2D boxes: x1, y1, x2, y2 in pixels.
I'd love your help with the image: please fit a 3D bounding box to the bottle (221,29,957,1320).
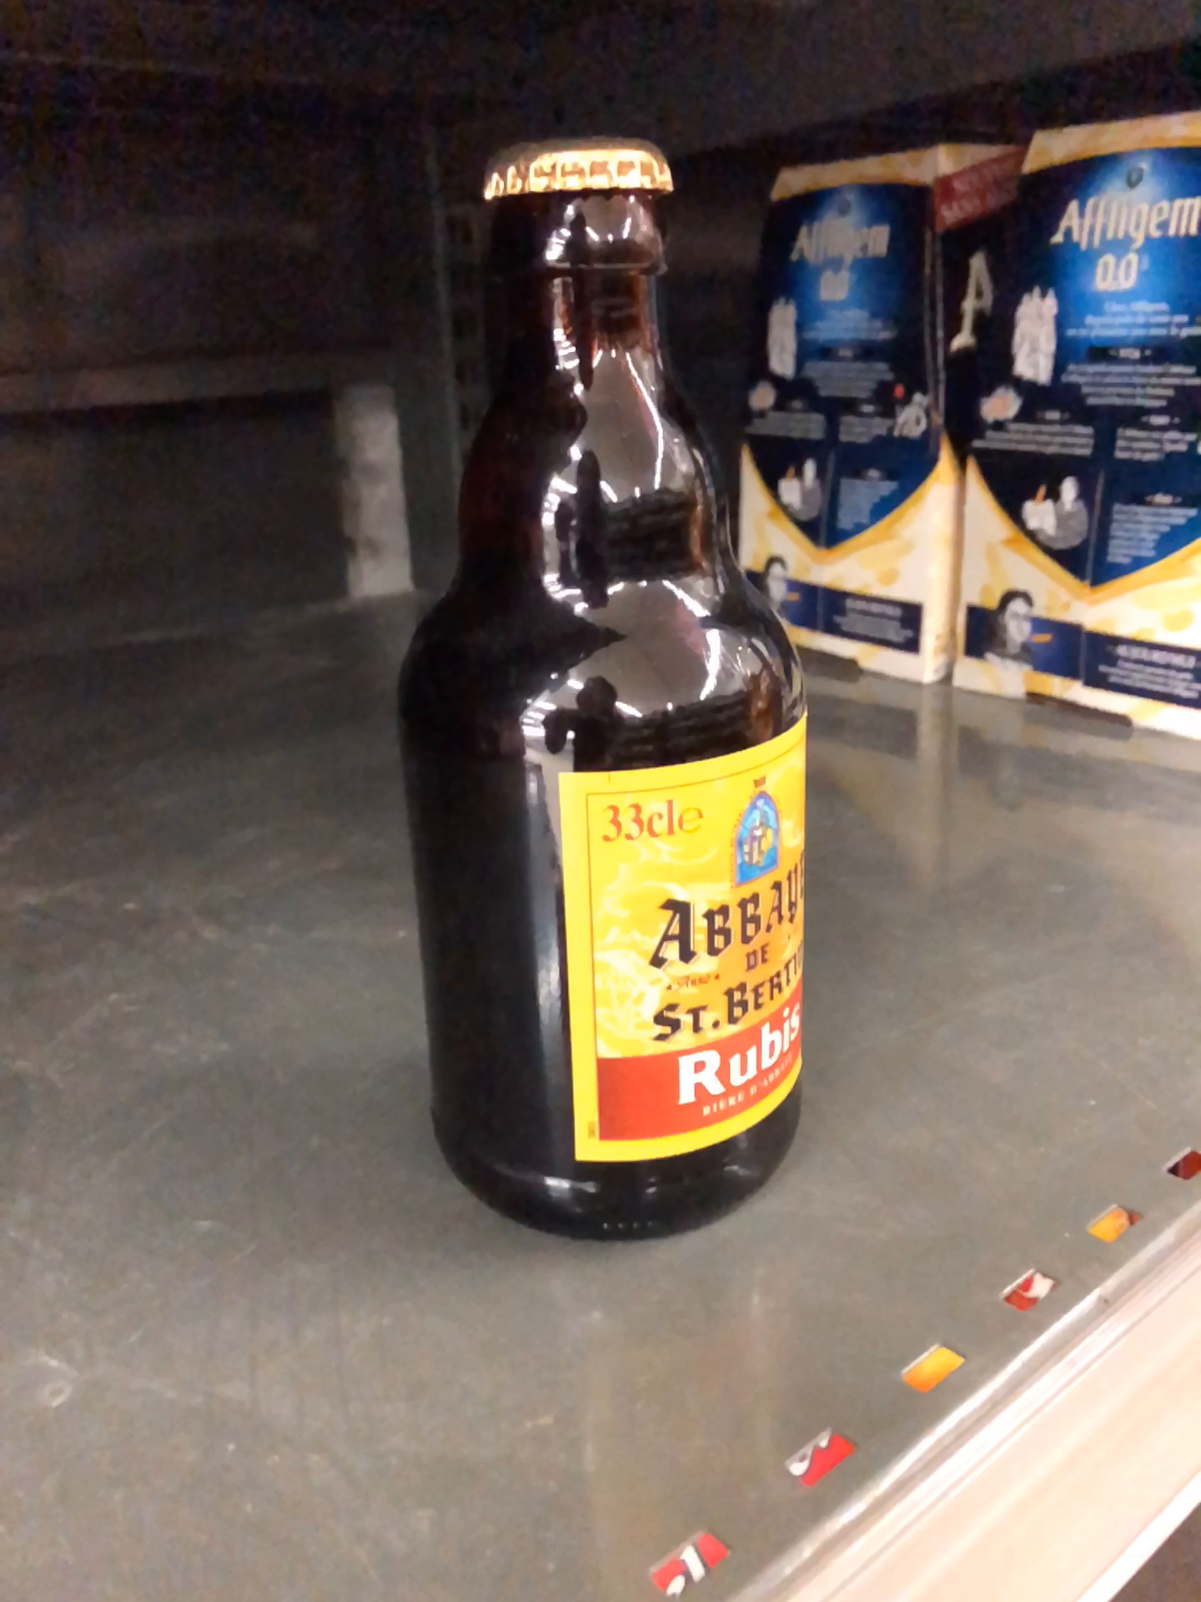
[{"bbox_3d":[0.002,-0.021,0.221,0.080,0.169,0.070,-18,24,-37],"label":"bottle"}]
